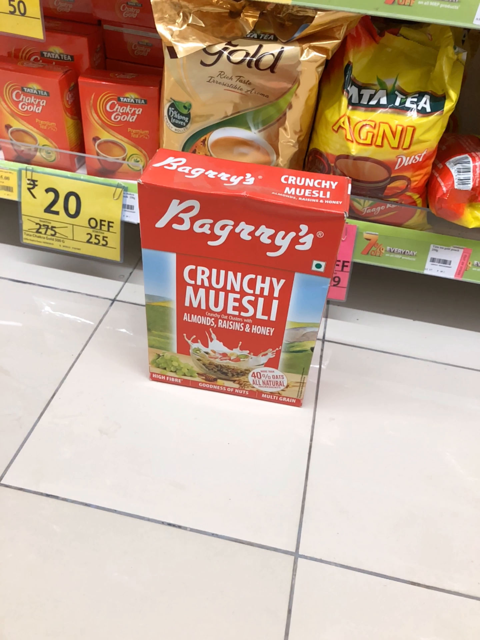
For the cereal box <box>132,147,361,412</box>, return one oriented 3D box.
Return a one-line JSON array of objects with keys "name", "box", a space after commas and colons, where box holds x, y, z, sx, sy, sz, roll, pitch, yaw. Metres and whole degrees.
[{"name": "cereal box", "box": [0.001, -0.030, 0.570, 0.200, 0.268, 0.071, 9, 42, 5]}]
